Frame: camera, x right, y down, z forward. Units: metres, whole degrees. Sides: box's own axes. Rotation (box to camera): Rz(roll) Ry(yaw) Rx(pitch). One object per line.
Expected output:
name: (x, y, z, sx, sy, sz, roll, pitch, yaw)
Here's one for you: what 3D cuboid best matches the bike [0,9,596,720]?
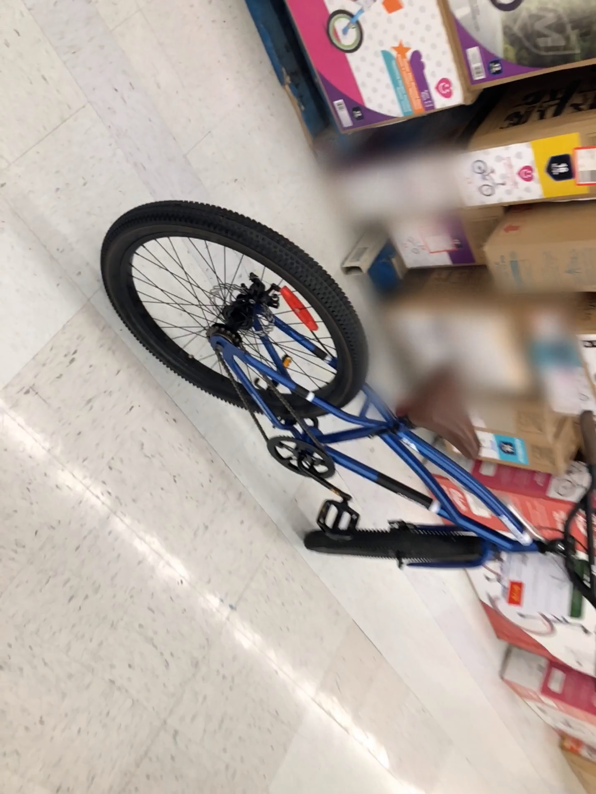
bike: (0.272, 0.100, 1.601, 1.559, 0.928, 0.649, 49, 59, -41)
